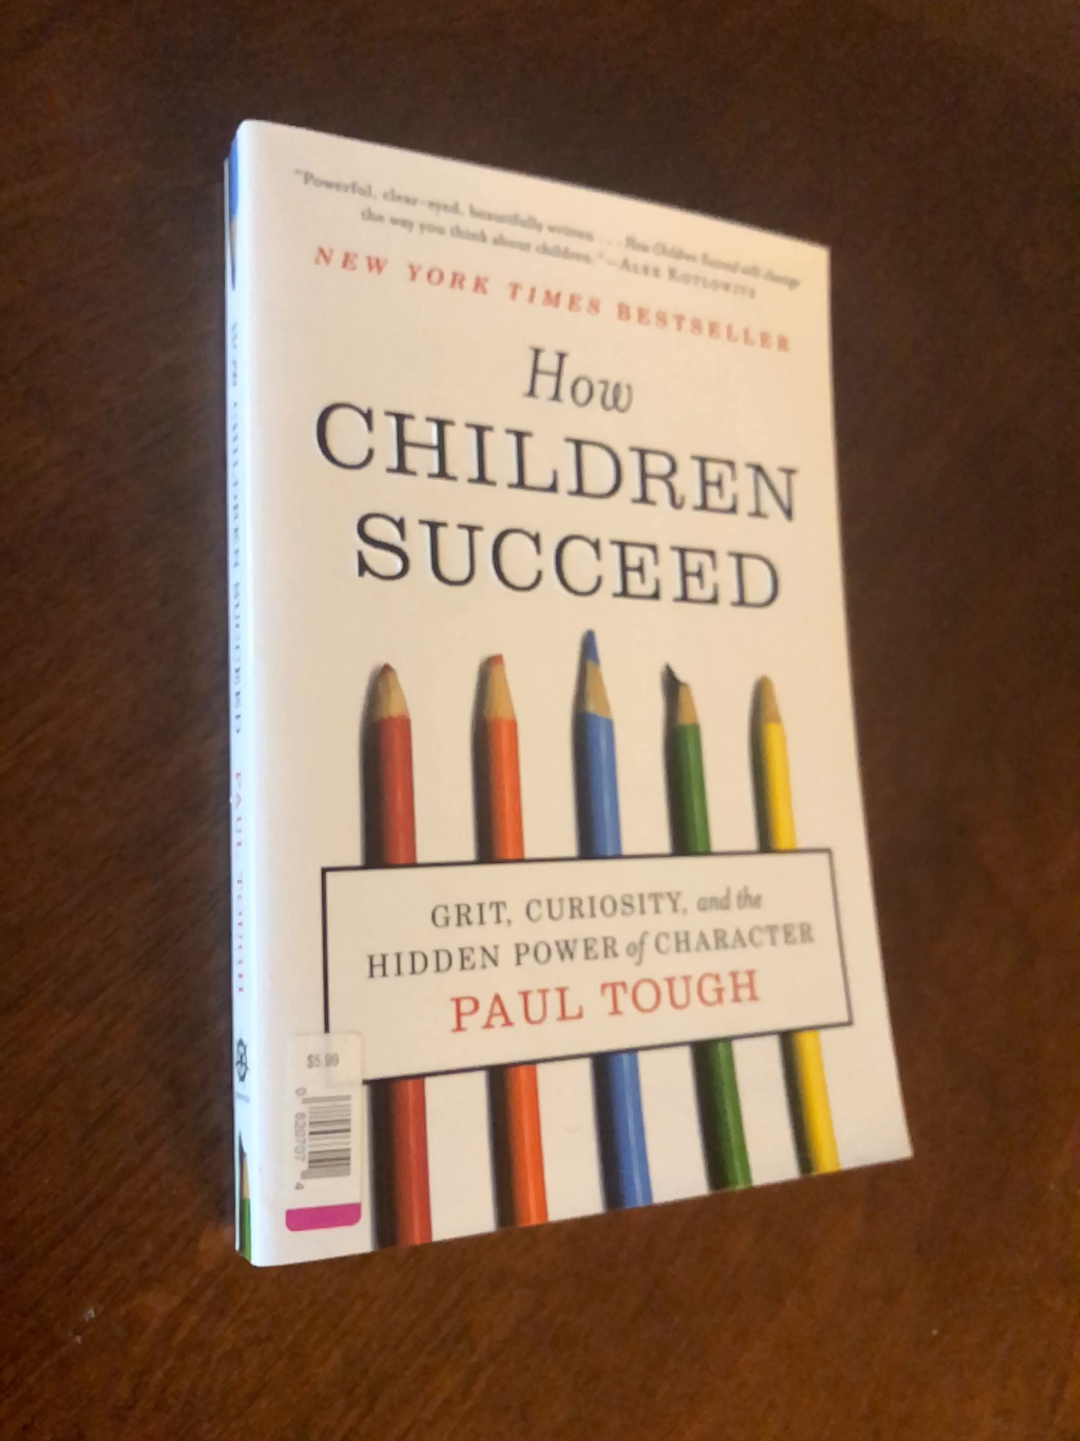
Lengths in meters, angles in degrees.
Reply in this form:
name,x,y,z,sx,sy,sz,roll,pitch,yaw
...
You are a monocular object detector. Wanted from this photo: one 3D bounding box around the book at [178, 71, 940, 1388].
name,x,y,z,sx,sy,sz,roll,pitch,yaw
book,0.005,-0.003,0.236,0.140,0.030,0.210,1,81,-26
